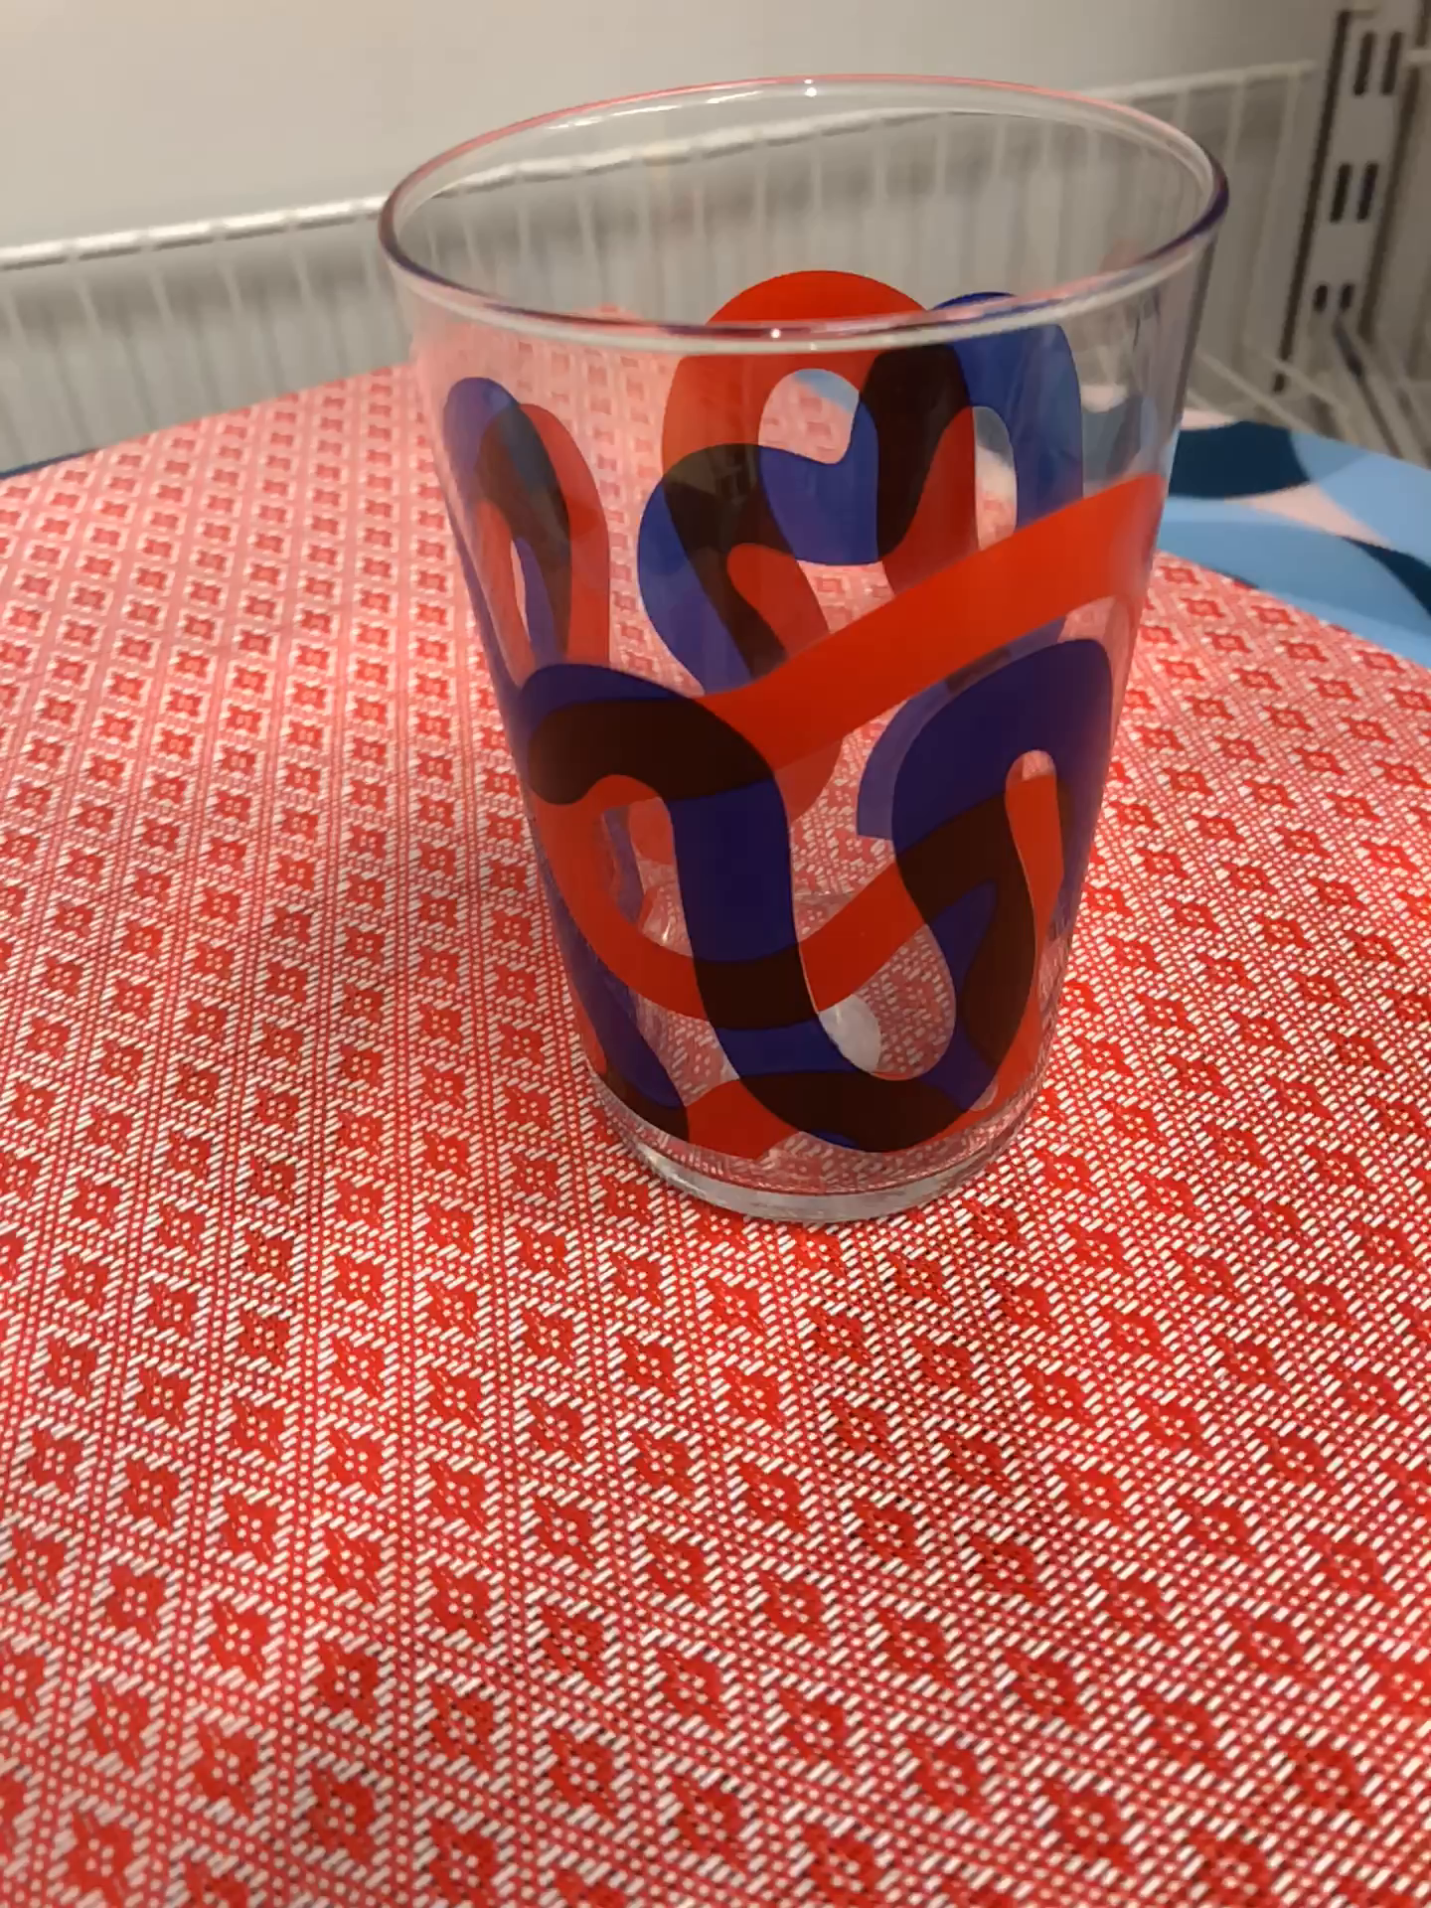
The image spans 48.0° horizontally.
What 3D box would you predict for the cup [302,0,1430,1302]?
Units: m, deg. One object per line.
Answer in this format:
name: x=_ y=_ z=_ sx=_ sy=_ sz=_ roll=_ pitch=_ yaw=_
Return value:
cup: x=0.012 y=-0.040 z=0.203 sx=0.090 sy=0.120 sz=0.090 roll=-2 pitch=41 yaw=2
